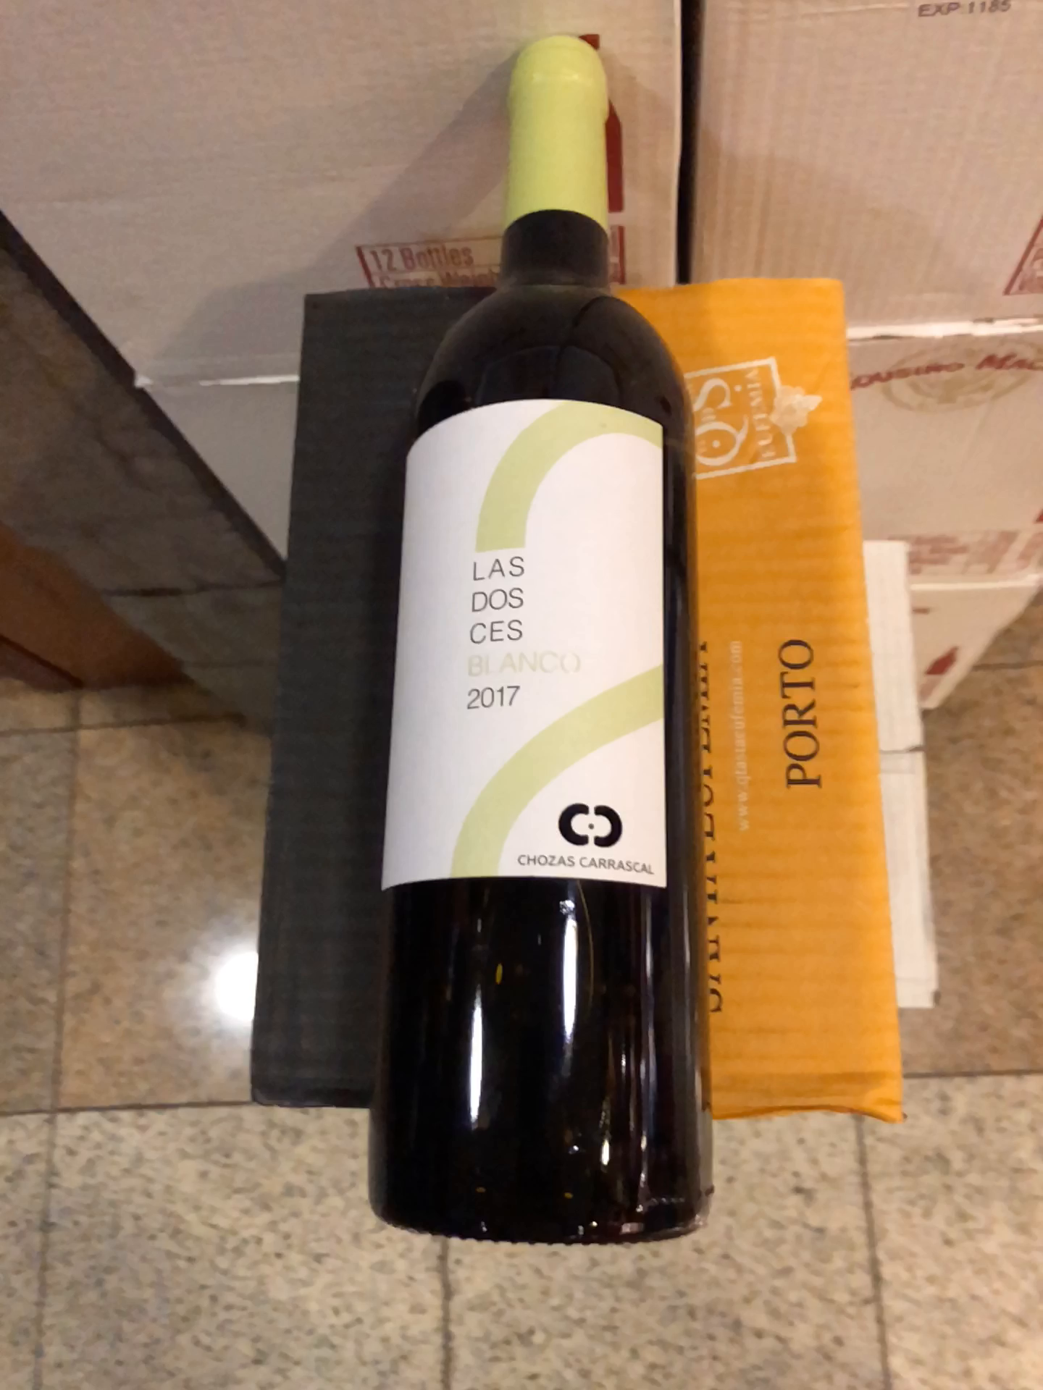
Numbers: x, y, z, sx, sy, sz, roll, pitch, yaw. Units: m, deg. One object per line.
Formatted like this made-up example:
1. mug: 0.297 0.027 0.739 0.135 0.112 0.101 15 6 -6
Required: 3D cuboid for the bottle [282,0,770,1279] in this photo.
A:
1. bottle: 0.006 -0.042 0.285 0.090 0.070 0.320 -1 76 6
